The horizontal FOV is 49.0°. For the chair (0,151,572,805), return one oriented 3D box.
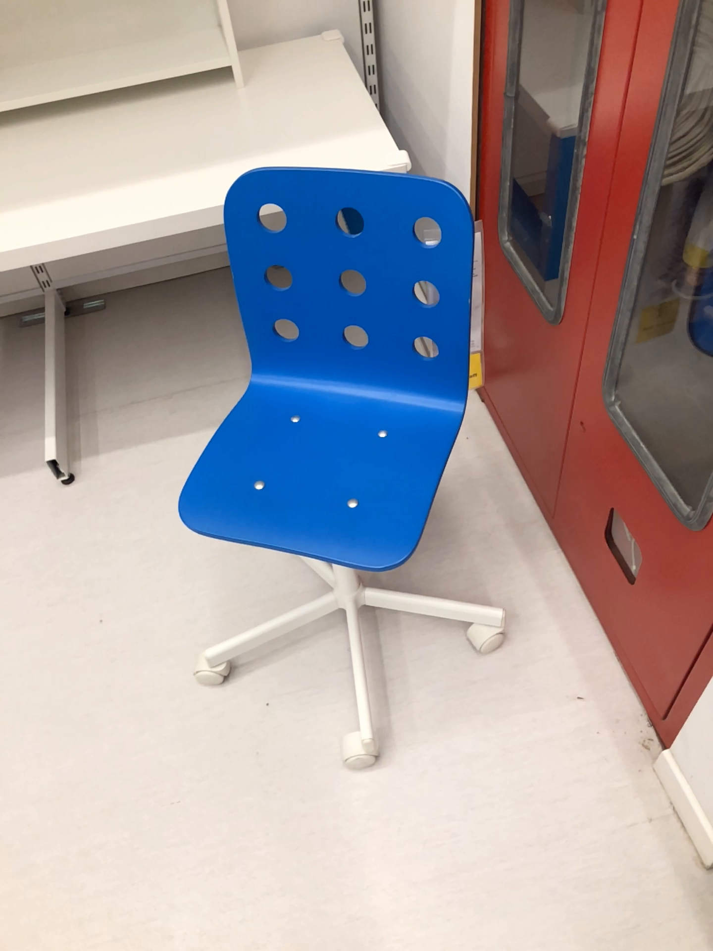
[{"bbox_3d":[-0.062,0.004,1.099,0.571,0.626,0.563,10,53,15],"label":"chair"}]
